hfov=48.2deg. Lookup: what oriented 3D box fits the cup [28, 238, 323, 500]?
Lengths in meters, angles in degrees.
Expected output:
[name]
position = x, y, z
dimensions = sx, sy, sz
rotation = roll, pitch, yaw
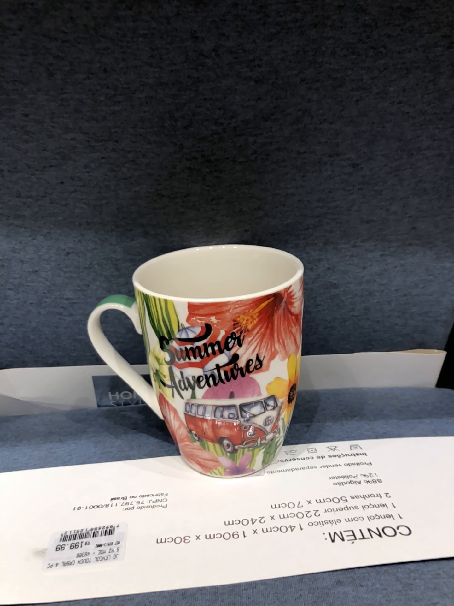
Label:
[cup]
position = -0.019, 0.024, 0.246
dimensions = 0.110, 0.090, 0.090
rotation = -3, 18, -1
